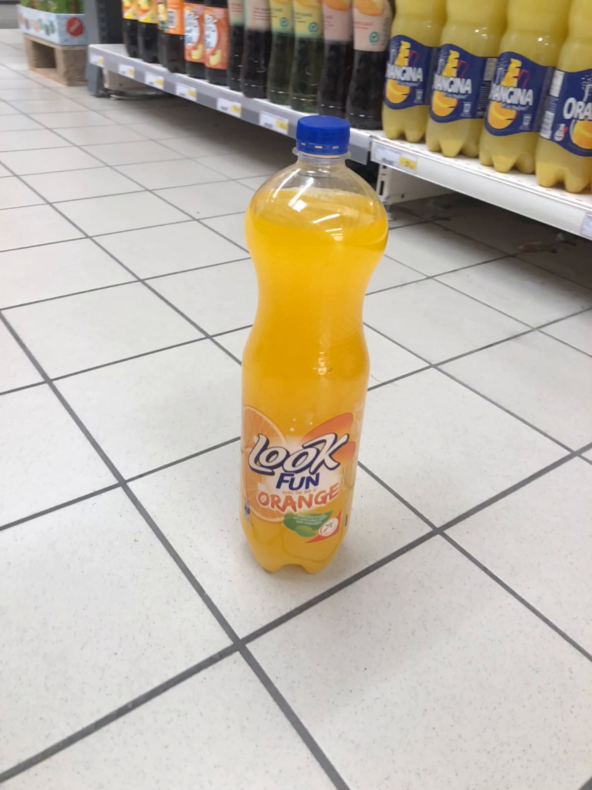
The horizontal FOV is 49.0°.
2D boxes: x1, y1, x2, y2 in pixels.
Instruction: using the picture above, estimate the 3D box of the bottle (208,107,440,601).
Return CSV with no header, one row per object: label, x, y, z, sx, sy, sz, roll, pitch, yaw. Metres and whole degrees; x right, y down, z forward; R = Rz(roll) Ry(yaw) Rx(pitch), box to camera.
bottle,0.012,-0.015,0.426,0.110,0.298,0.101,3,32,-2
